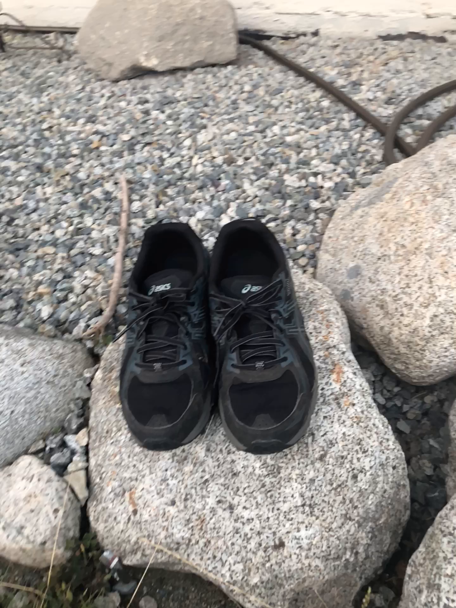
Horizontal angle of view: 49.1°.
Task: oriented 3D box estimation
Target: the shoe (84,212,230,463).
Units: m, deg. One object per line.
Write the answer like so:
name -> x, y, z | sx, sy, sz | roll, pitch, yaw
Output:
shoe -> -0.064, 0.023, 0.569 | 0.120, 0.099, 0.282 | -4, 45, 3

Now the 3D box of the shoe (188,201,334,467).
shoe -> 0.028, 0.015, 0.549 | 0.120, 0.099, 0.292 | -4, 45, 3
